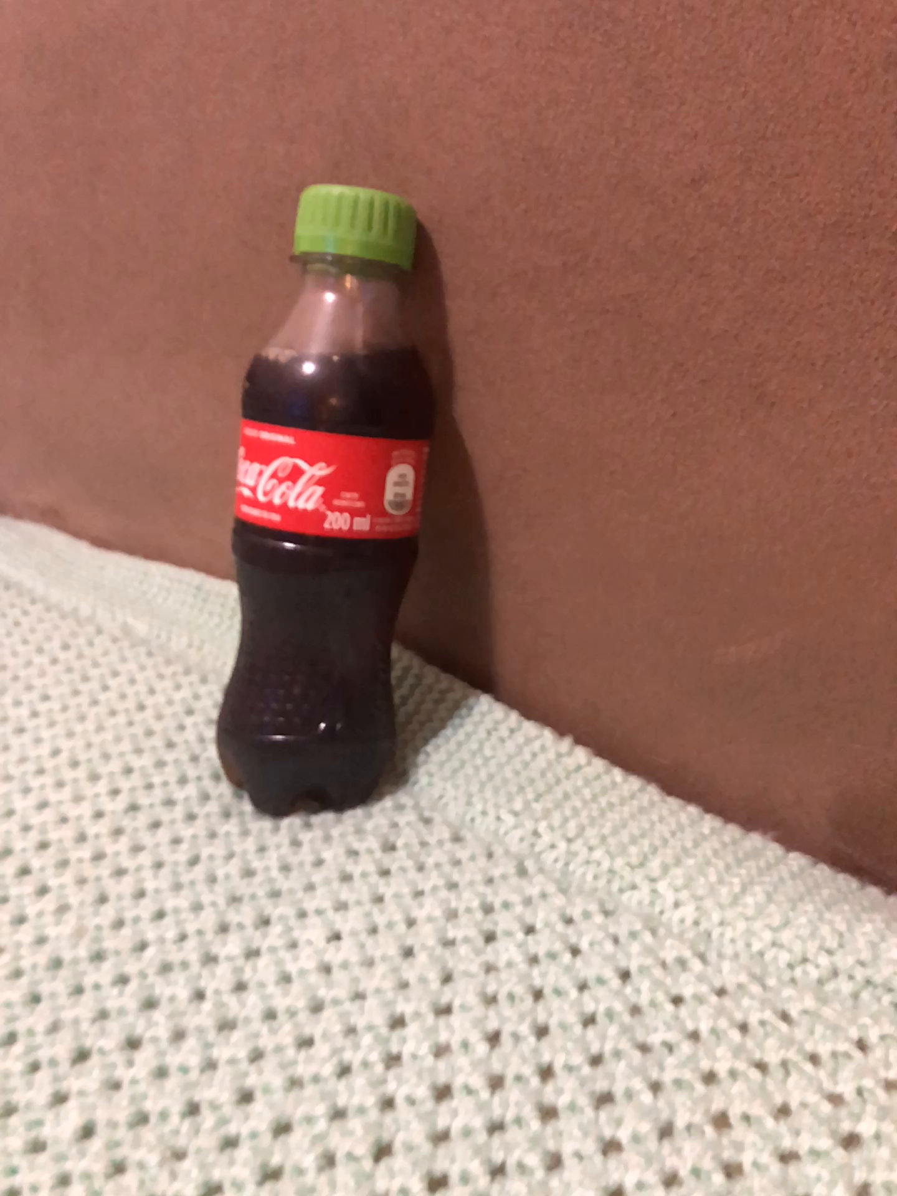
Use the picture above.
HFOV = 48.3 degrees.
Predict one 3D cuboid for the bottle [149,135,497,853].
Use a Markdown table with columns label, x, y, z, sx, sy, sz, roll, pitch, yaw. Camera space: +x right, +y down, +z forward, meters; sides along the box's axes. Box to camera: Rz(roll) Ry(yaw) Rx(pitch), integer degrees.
| label | x | y | z | sx | sy | sz | roll | pitch | yaw |
| --- | --- | --- | --- | --- | --- | --- | --- | --- | --- |
| bottle | -0.036 | -0.029 | 0.274 | 0.060 | 0.169 | 0.060 | 5 | 13 | -1 |
